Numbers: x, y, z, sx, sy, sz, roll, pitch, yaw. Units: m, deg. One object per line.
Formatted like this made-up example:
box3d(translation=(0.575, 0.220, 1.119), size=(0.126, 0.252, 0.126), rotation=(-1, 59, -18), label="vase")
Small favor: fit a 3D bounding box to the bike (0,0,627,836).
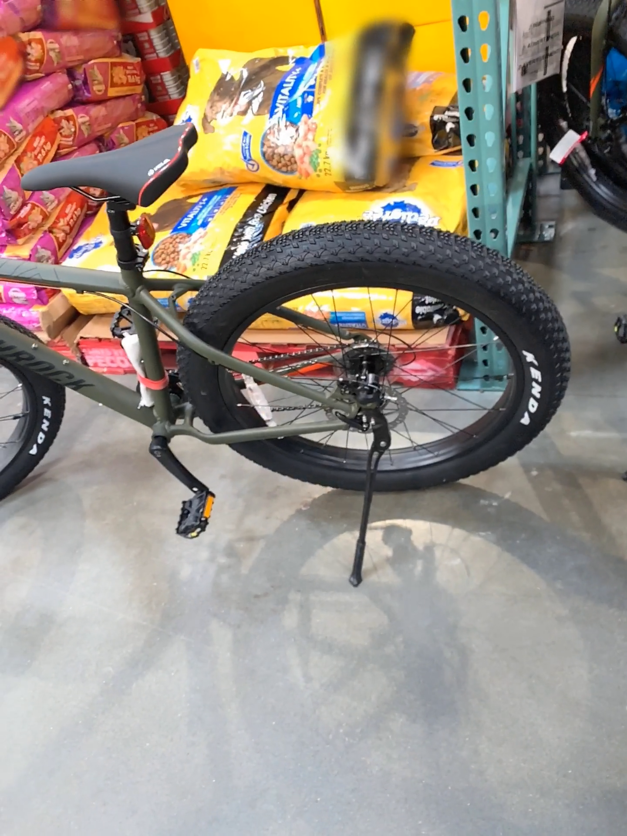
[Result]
box3d(translation=(-0.333, -0.007, 0.914), size=(1.712, 1.203, 0.594), rotation=(-12, 41, -6), label="bike")
